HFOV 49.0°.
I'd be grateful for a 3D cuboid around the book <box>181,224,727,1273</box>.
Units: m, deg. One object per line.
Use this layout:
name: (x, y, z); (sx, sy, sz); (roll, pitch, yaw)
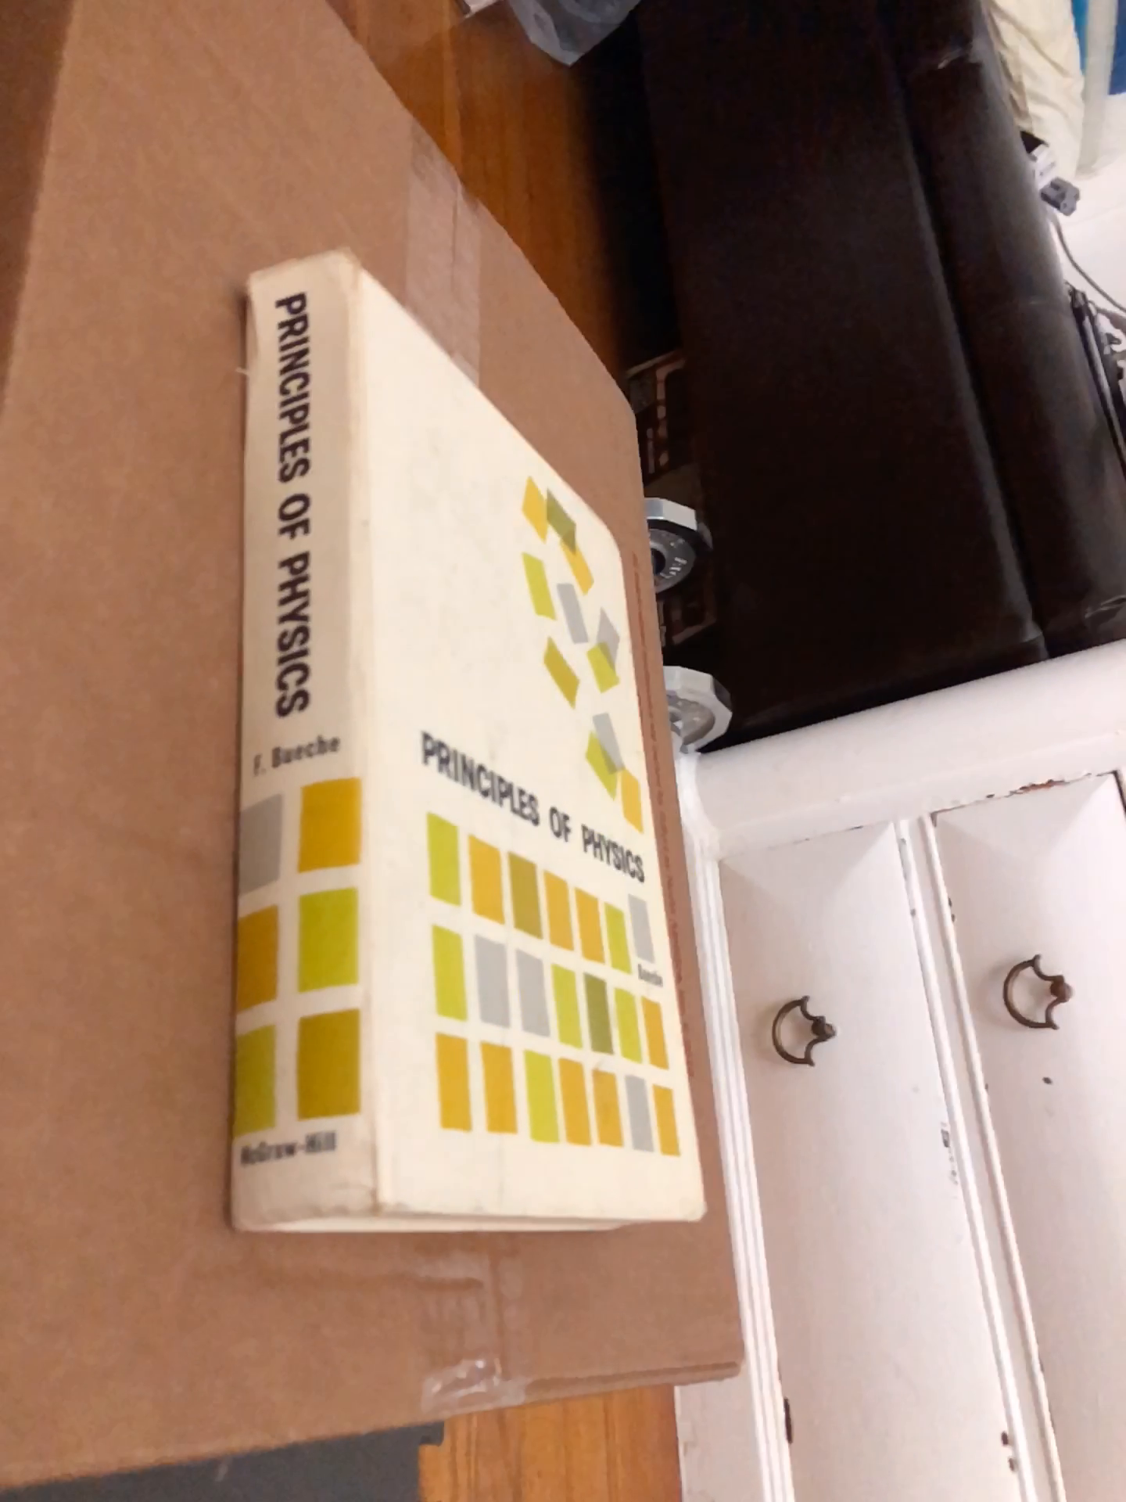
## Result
book: (-0.022, 0.010, 0.353); (0.181, 0.040, 0.250); (34, 45, -54)
